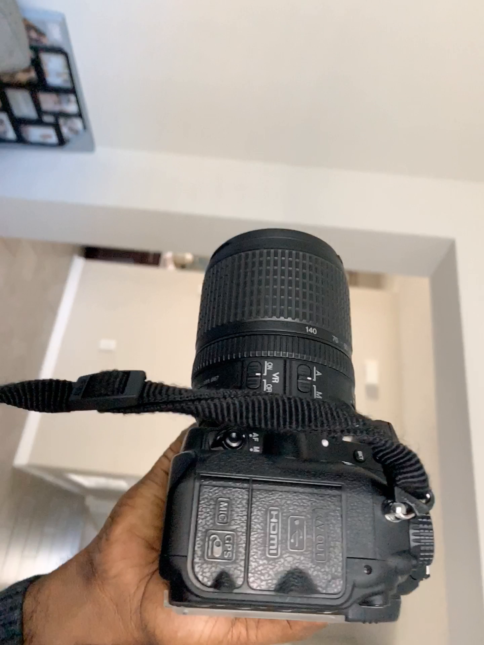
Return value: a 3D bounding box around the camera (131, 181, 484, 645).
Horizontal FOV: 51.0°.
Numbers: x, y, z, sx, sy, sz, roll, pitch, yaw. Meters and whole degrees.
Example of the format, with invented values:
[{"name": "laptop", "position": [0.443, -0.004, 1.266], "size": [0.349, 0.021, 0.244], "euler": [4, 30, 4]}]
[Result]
[{"name": "camera", "position": [0.017, 0.054, 0.265], "size": [0.159, 0.114, 0.170], "euler": [110, -15, -65]}]
